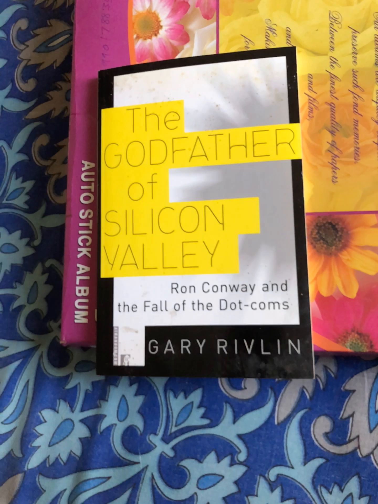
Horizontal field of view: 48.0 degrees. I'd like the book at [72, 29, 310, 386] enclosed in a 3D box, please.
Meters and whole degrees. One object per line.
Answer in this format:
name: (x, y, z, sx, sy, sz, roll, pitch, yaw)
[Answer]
book: (-0.002, -0.028, 0.282, 0.150, 0.020, 0.220, -1, 85, 10)
